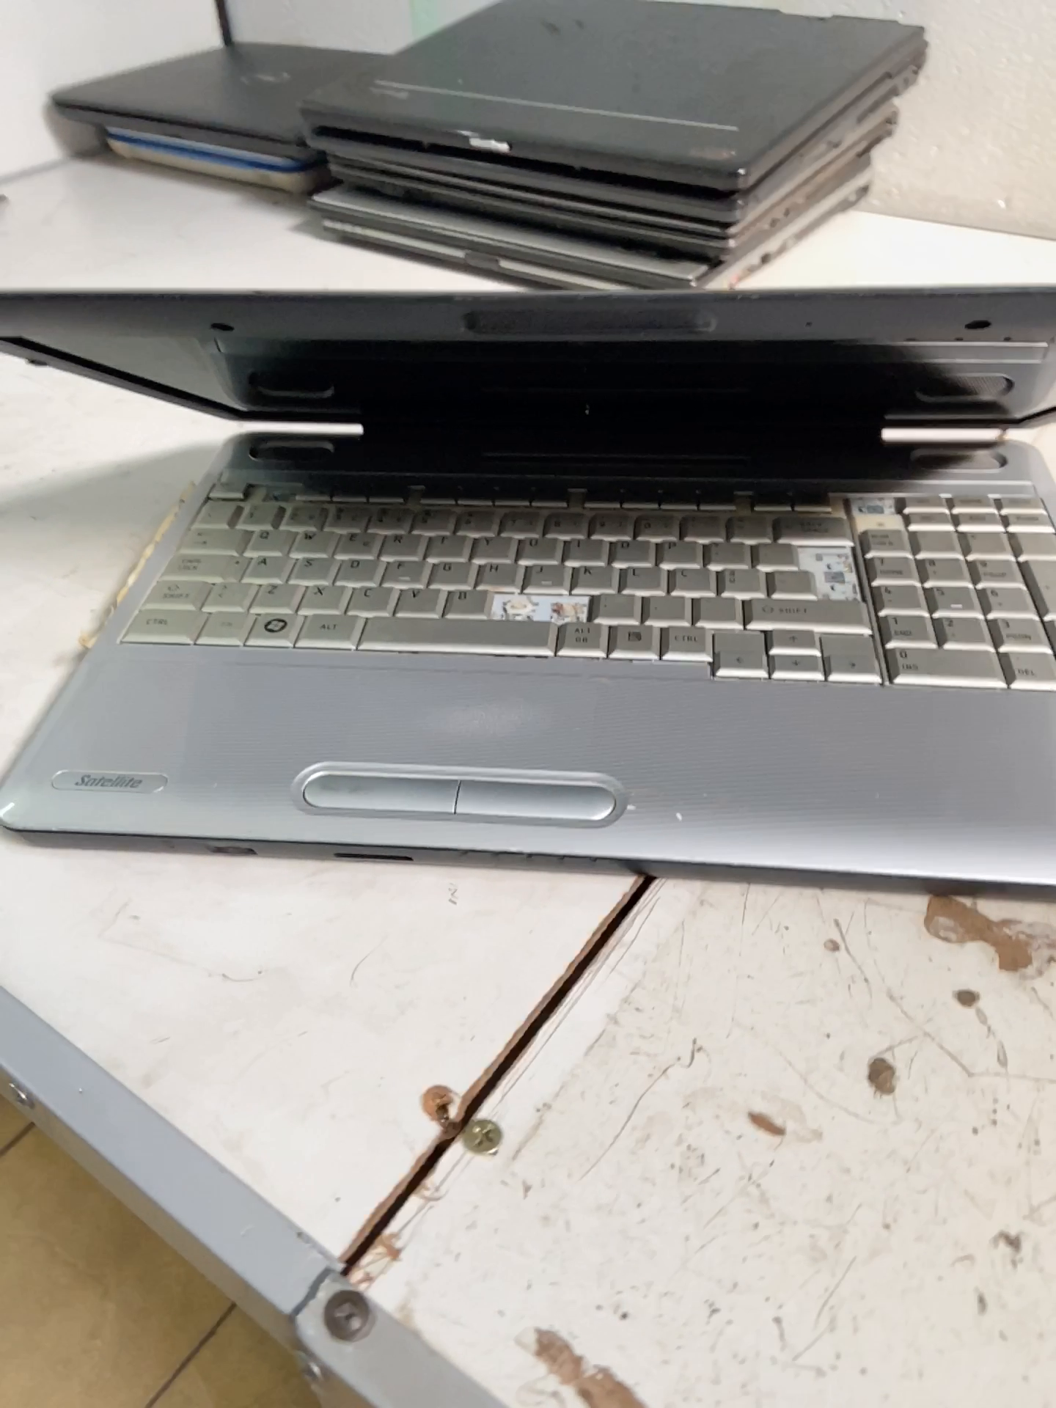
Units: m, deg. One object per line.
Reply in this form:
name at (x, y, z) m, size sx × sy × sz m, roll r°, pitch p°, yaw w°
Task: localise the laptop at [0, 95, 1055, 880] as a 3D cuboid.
laptop at (0.028, -0.096, 0.378) m, size 0.371 × 0.143 × 0.257 m, roll 2°, pitch 42°, yaw 6°
